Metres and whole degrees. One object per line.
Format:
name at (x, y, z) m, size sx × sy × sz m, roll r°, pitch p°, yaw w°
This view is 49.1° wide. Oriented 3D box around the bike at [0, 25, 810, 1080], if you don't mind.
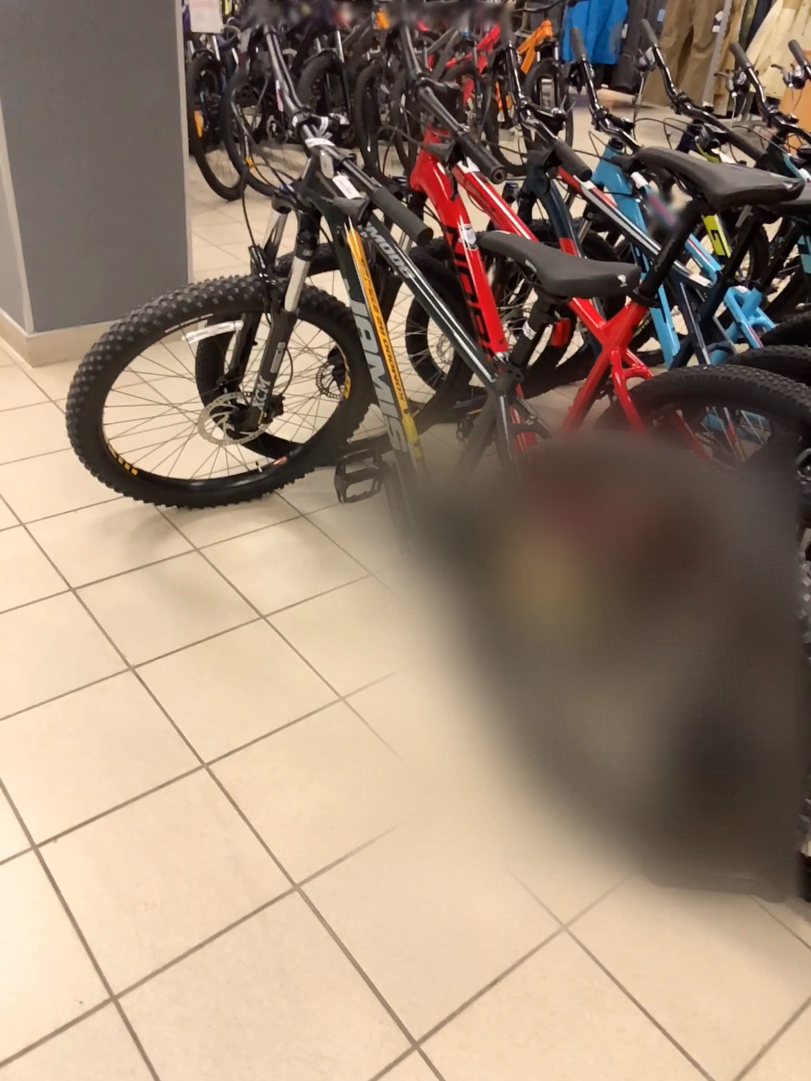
bike at (-0.011, -0.107, 1.471) m, size 1.544 × 1.165 × 0.810 m, roll 27°, pitch 38°, yaw 31°
